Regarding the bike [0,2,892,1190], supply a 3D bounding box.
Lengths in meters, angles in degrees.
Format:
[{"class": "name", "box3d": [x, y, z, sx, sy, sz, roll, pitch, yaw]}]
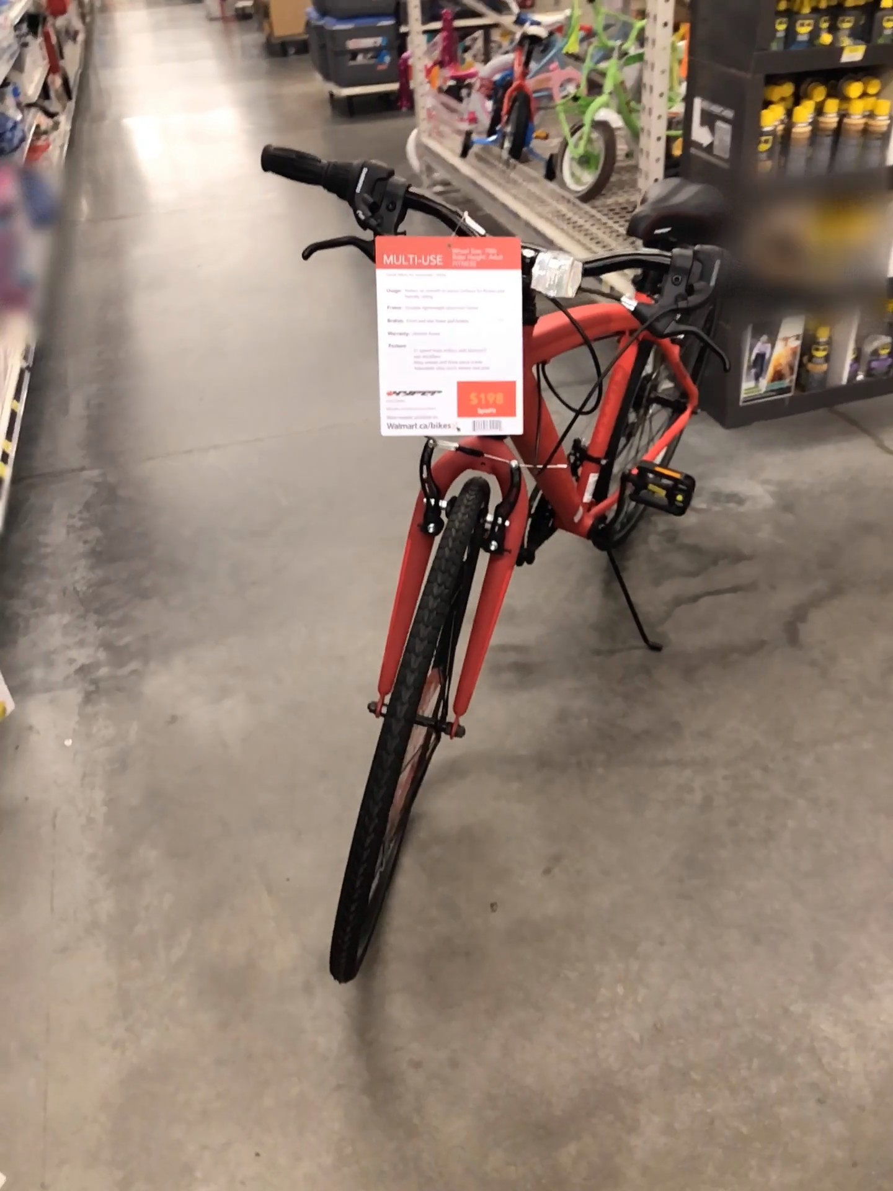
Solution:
[{"class": "bike", "box3d": [0.229, -0.225, 1.572, 0.613, 1.000, 1.695, 13, 41, 22]}]
